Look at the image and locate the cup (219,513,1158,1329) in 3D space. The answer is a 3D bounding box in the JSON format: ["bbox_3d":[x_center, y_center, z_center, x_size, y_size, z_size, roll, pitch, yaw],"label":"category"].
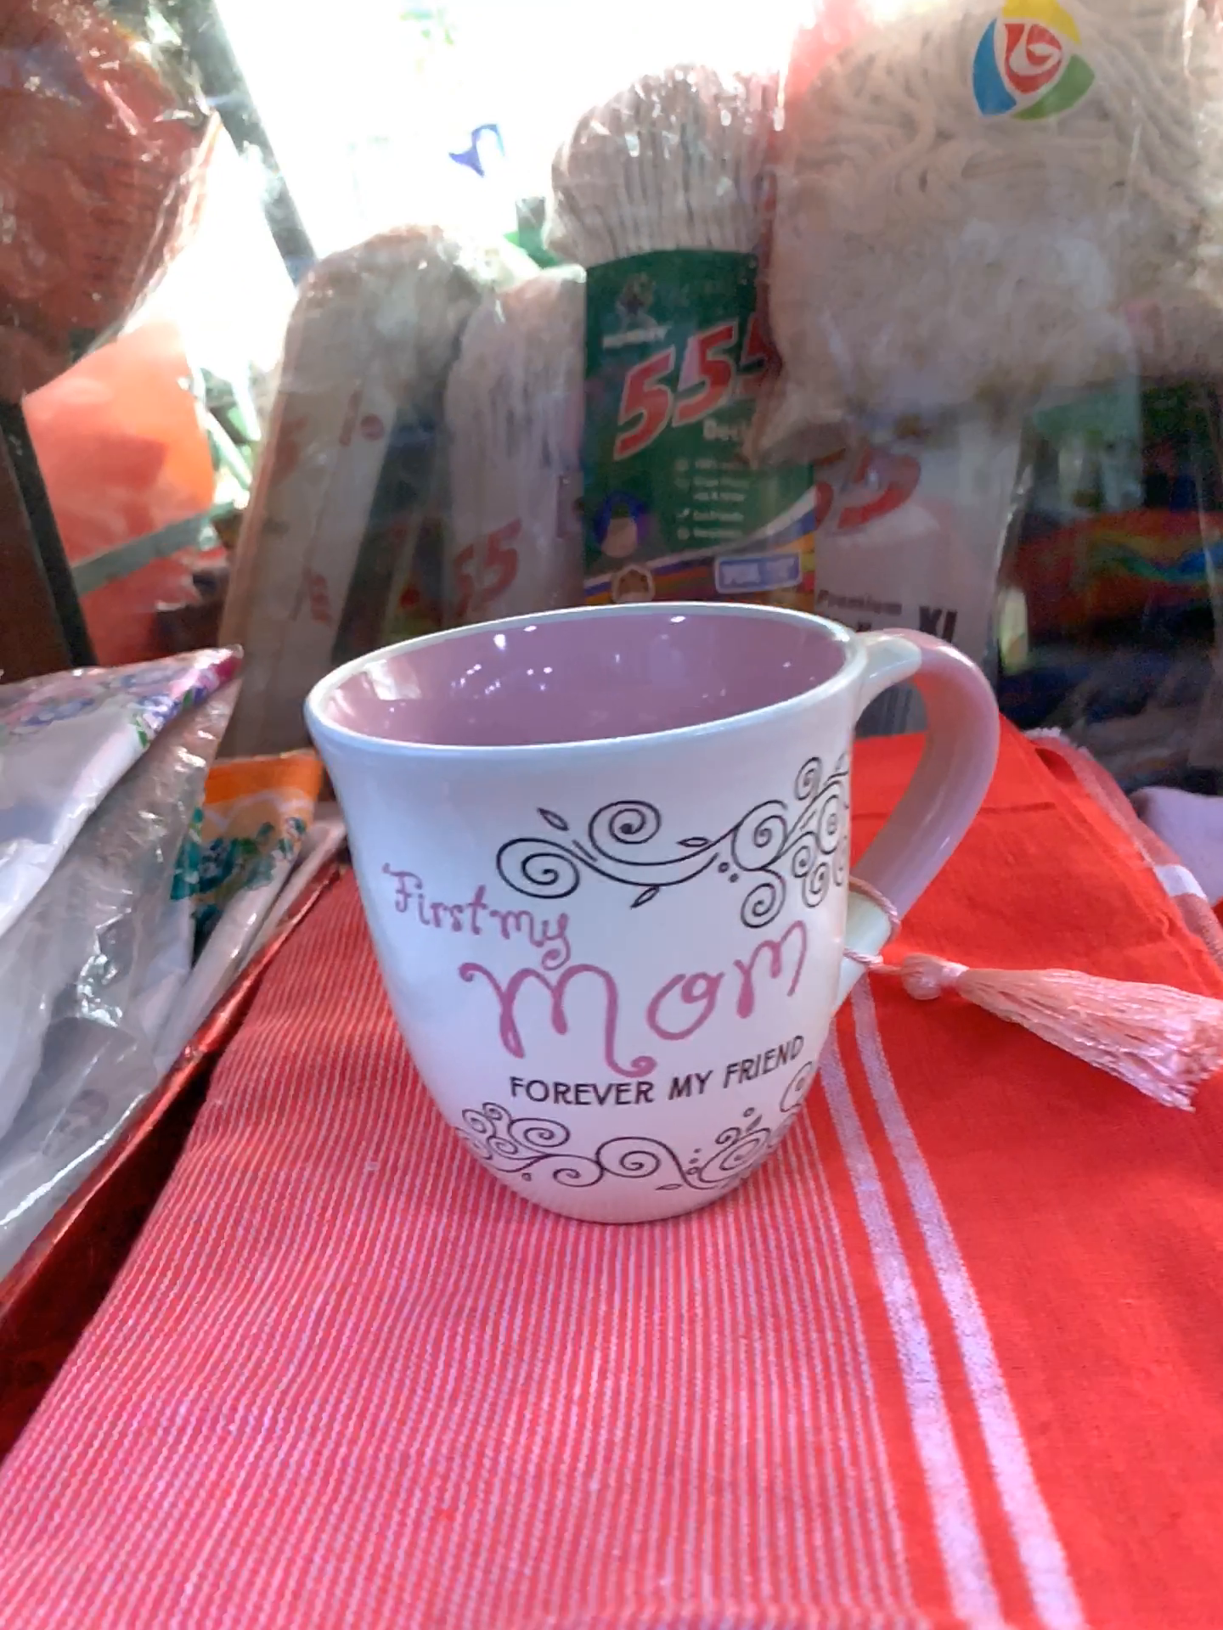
[{"bbox_3d":[0.017,0.002,0.219,0.125,0.075,0.086,-22,26,-30],"label":"cup"}]
